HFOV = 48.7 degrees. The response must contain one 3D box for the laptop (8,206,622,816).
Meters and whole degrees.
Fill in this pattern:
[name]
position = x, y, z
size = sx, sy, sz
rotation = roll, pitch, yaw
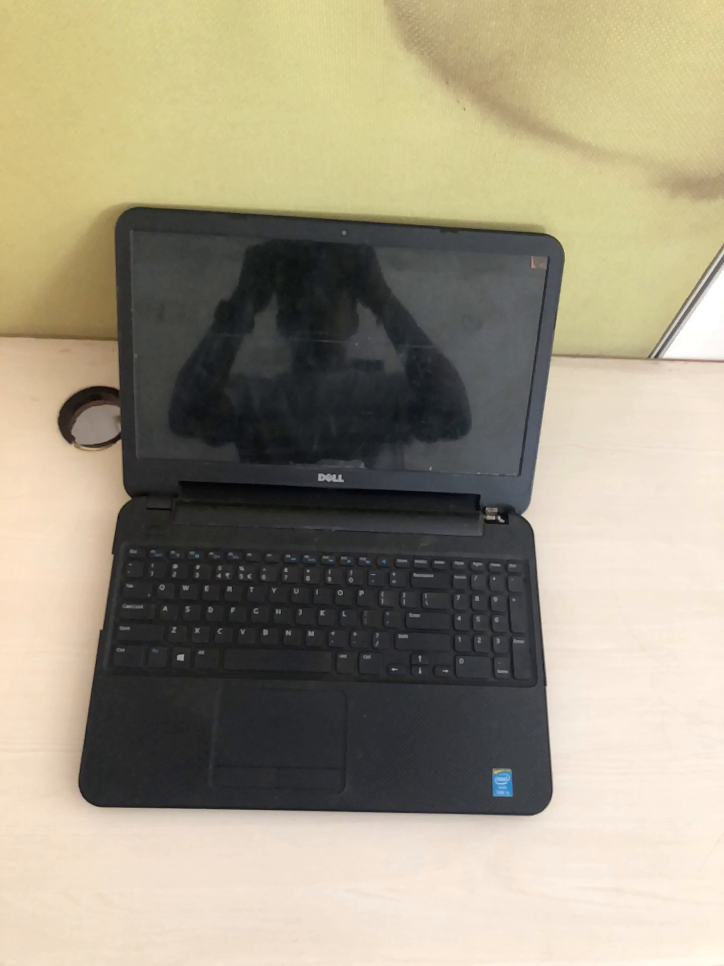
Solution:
[laptop]
position = -0.024, 0.021, 0.619
size = 0.355, 0.158, 0.428
rotation = 2, 66, -4
